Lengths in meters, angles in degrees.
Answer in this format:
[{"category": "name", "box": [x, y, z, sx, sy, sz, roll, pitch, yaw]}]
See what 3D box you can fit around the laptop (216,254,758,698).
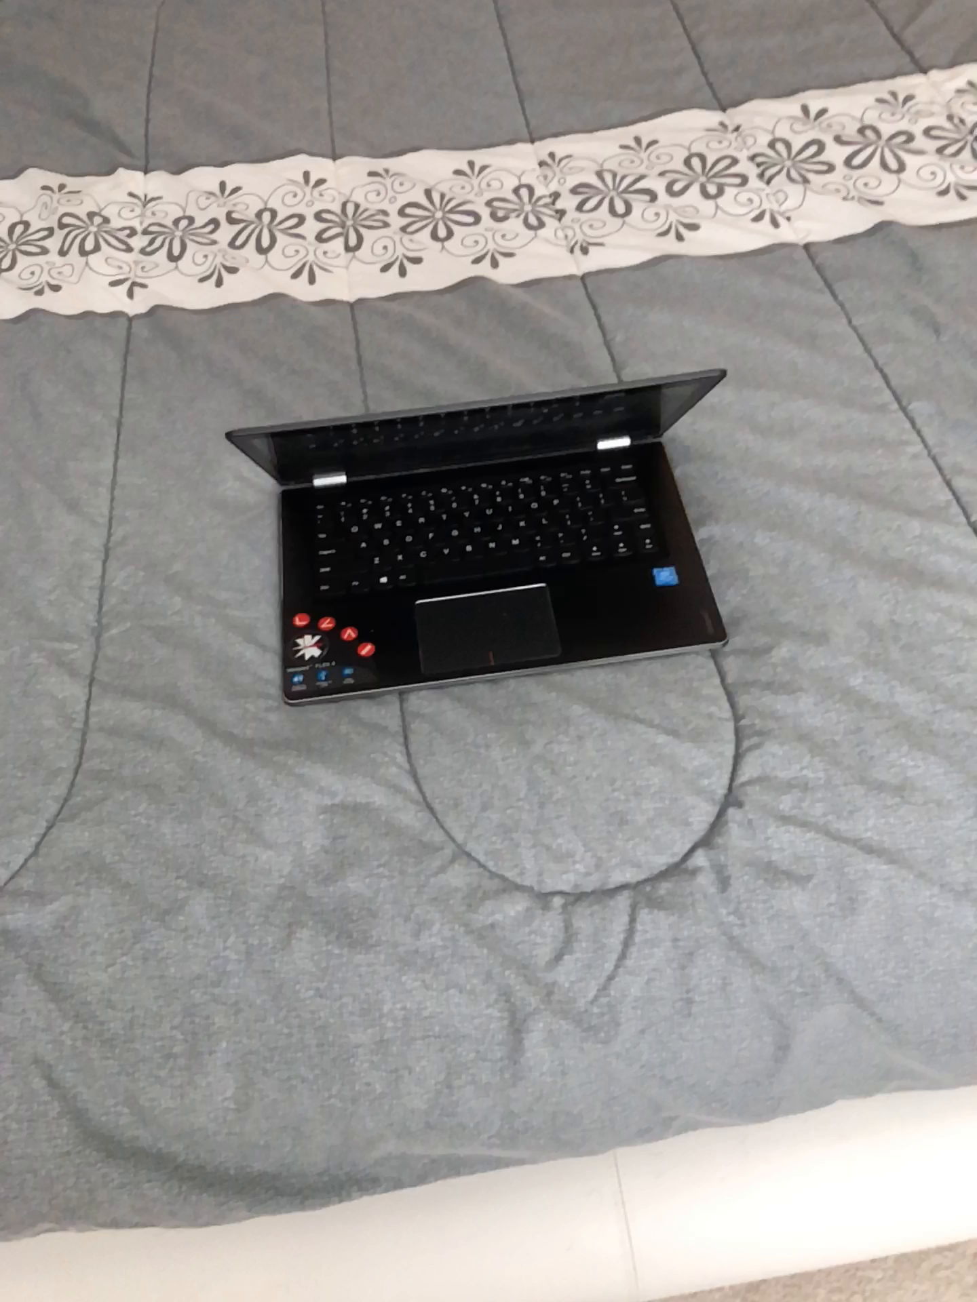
[{"category": "laptop", "box": [-0.007, -0.120, 0.736, 0.304, 0.167, 0.215, -8, 52, -2]}]
